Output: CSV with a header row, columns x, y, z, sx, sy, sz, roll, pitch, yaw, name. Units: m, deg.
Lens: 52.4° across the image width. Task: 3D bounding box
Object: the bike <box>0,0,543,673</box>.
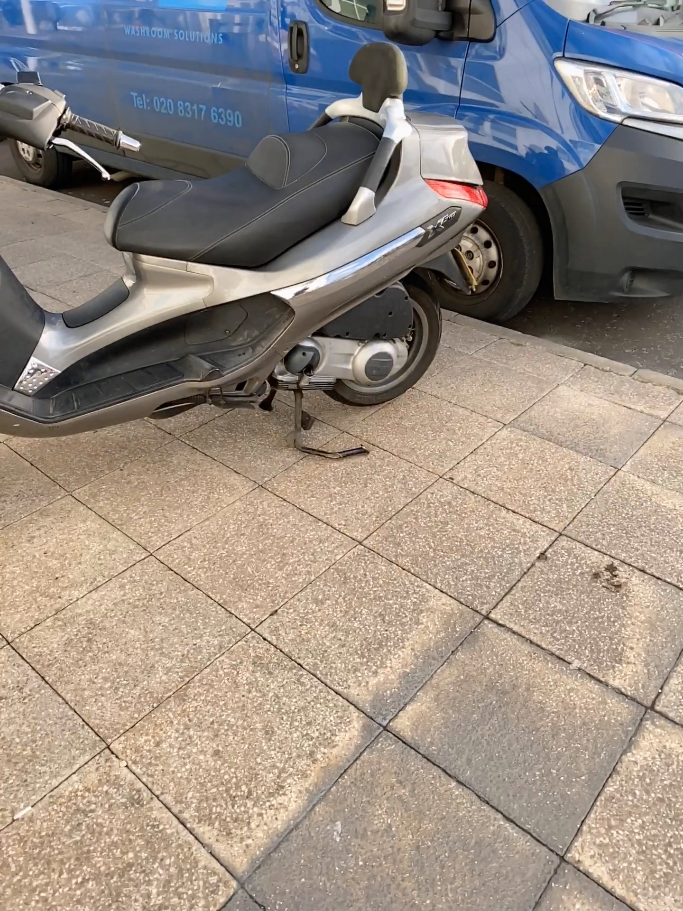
x,y,z,sx,sy,sz,roll,pitch,yaw,name
-0.422,-0.429,1.636,1.656,1.062,0.657,-19,38,-24,bike
